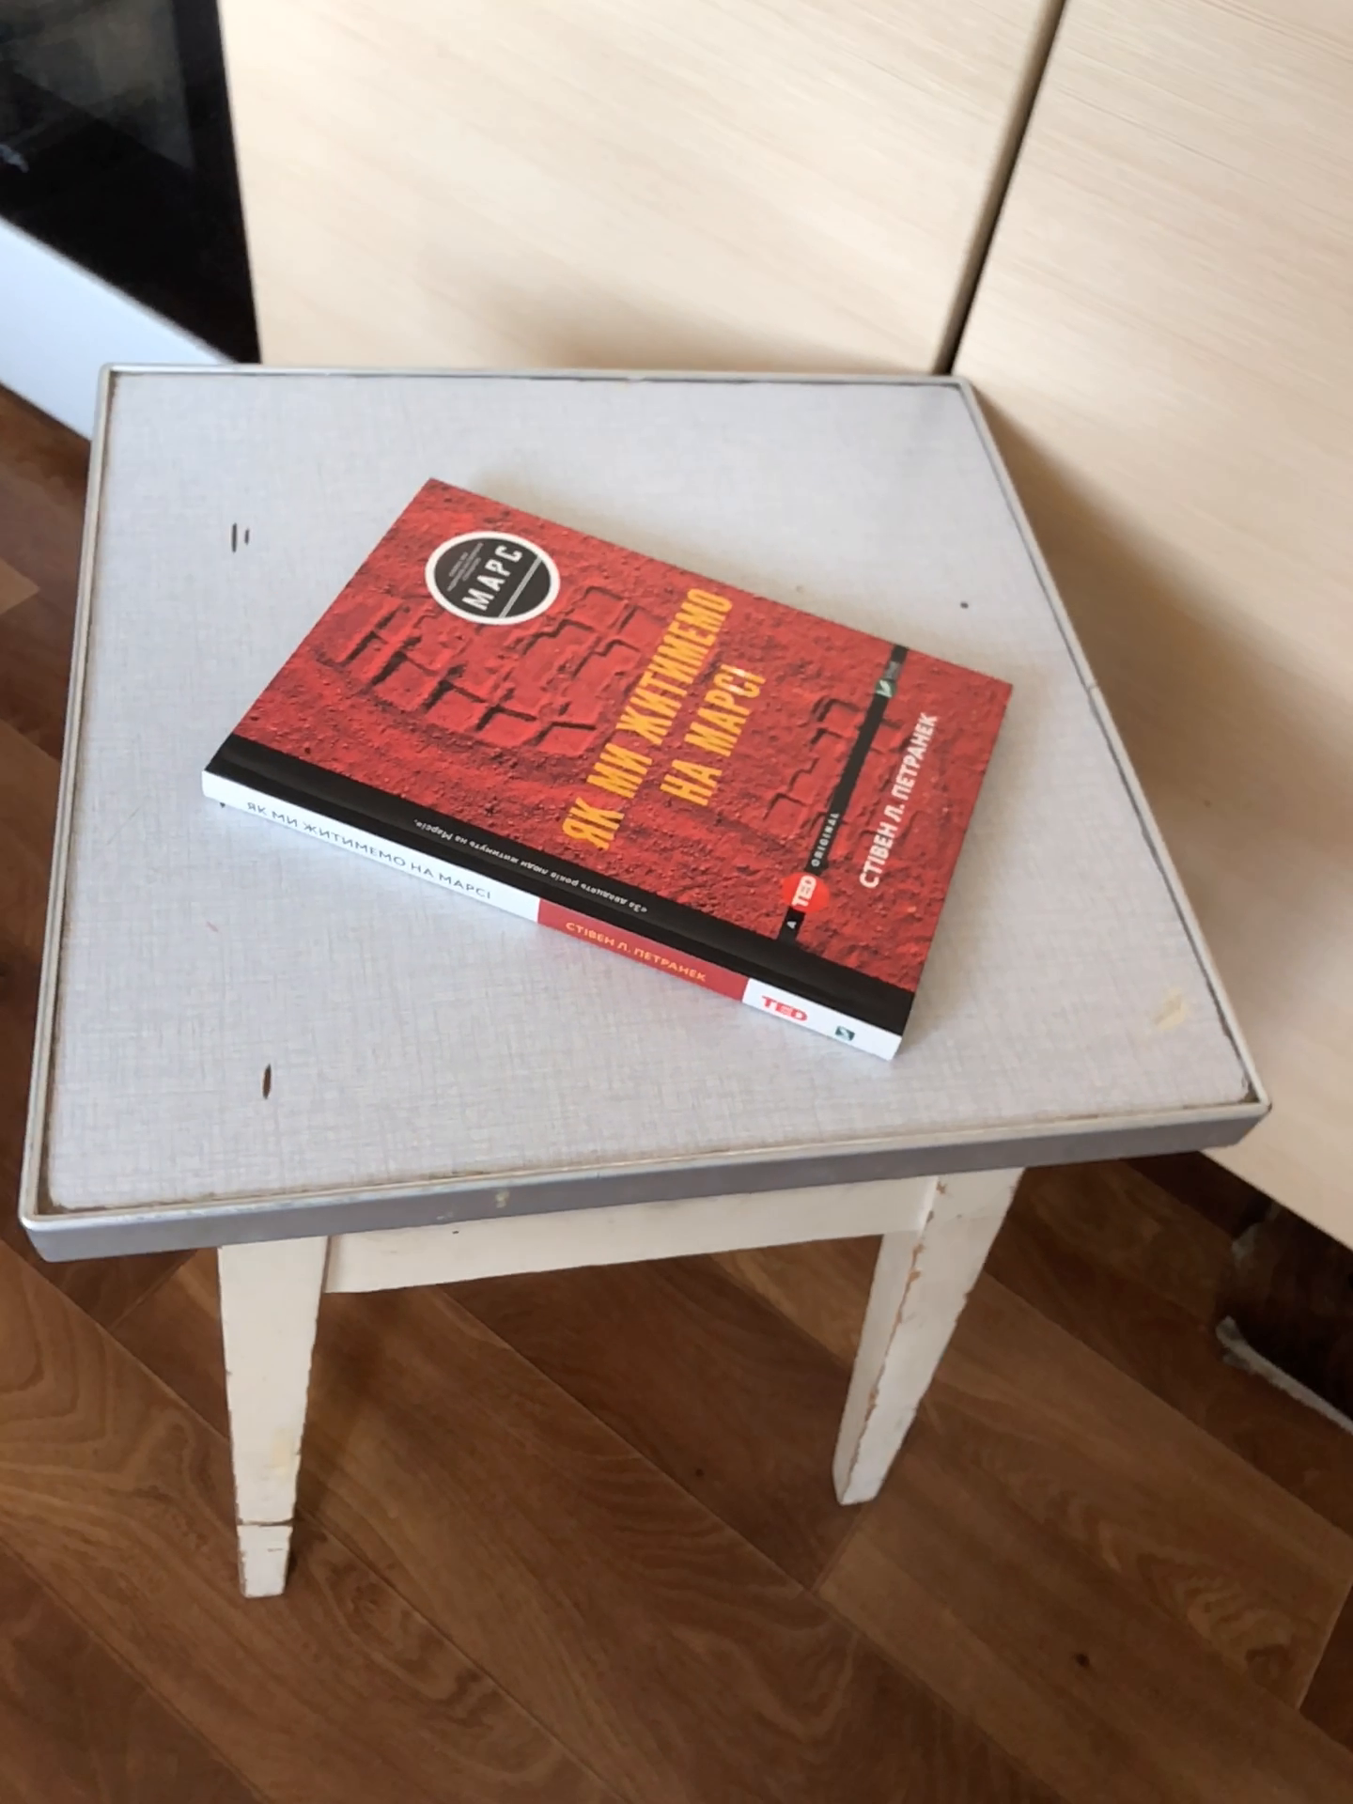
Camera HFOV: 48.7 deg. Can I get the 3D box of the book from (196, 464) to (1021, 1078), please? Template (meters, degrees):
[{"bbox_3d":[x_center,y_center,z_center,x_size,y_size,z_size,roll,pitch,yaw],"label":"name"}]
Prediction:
[{"bbox_3d":[-0.013,-0.050,0.458,0.208,0.020,0.151,21,54,6],"label":"book"}]
